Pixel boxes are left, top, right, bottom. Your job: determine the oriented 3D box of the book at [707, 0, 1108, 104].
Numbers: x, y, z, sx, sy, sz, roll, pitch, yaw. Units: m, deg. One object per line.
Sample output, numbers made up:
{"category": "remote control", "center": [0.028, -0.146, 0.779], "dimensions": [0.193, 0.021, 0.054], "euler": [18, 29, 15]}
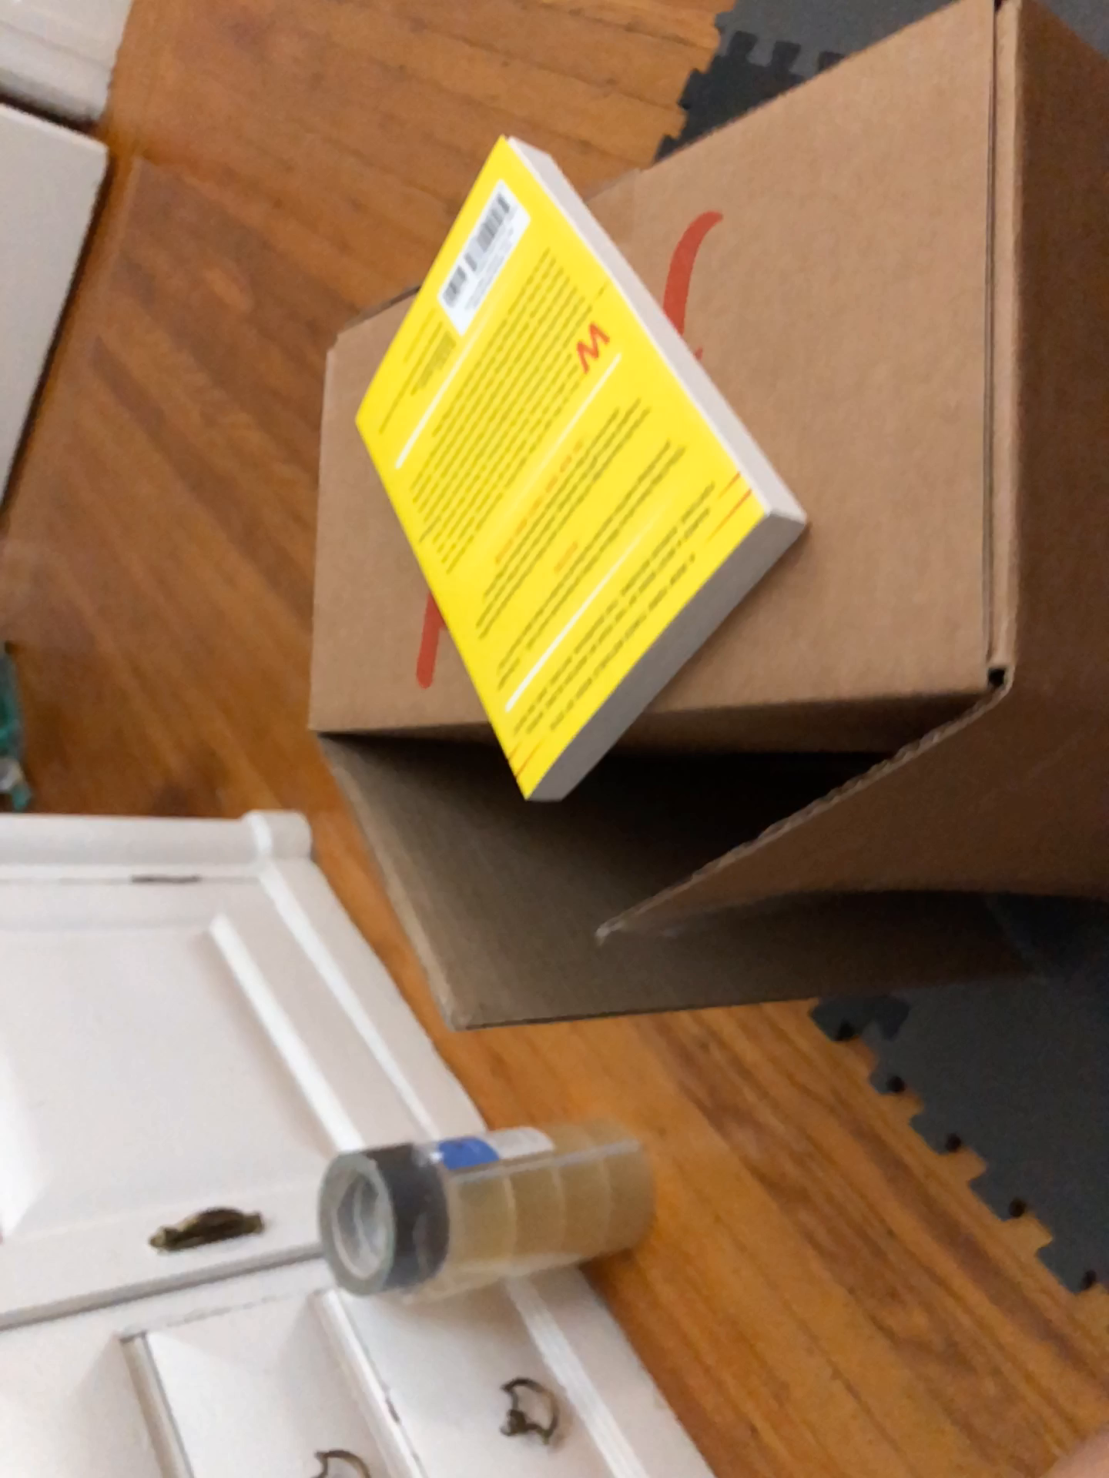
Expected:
{"category": "book", "center": [0.156, -0.355, 0.445], "dimensions": [0.150, 0.020, 0.221], "euler": [-51, 51, 33]}
